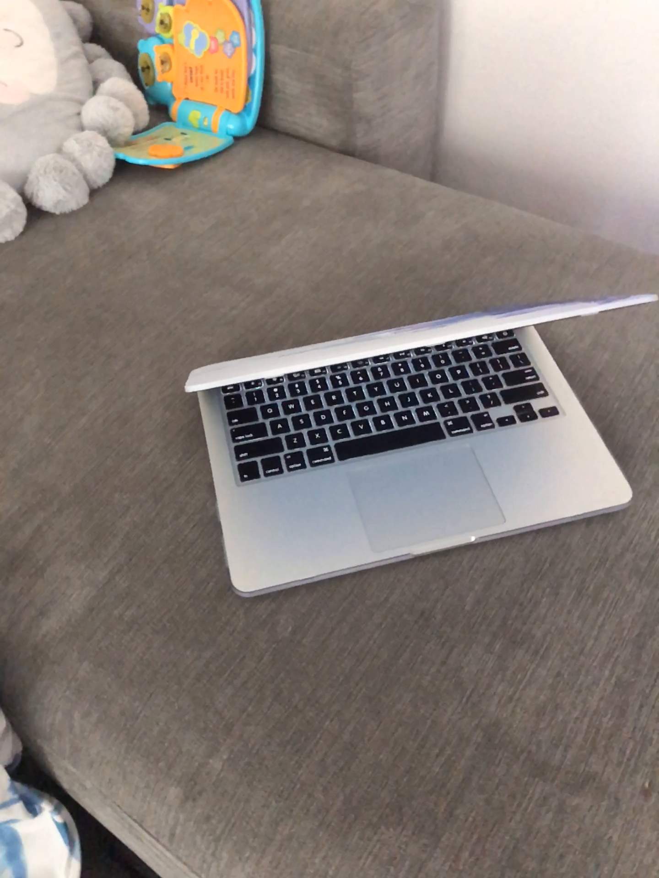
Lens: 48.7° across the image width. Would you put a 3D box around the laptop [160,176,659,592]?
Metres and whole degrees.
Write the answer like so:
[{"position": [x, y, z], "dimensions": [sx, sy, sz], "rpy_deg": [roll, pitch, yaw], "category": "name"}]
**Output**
[{"position": [0.054, -0.051, 0.544], "dimensions": [0.308, 0.137, 0.218], "rpy_deg": [-12, 53, -9], "category": "laptop"}]
